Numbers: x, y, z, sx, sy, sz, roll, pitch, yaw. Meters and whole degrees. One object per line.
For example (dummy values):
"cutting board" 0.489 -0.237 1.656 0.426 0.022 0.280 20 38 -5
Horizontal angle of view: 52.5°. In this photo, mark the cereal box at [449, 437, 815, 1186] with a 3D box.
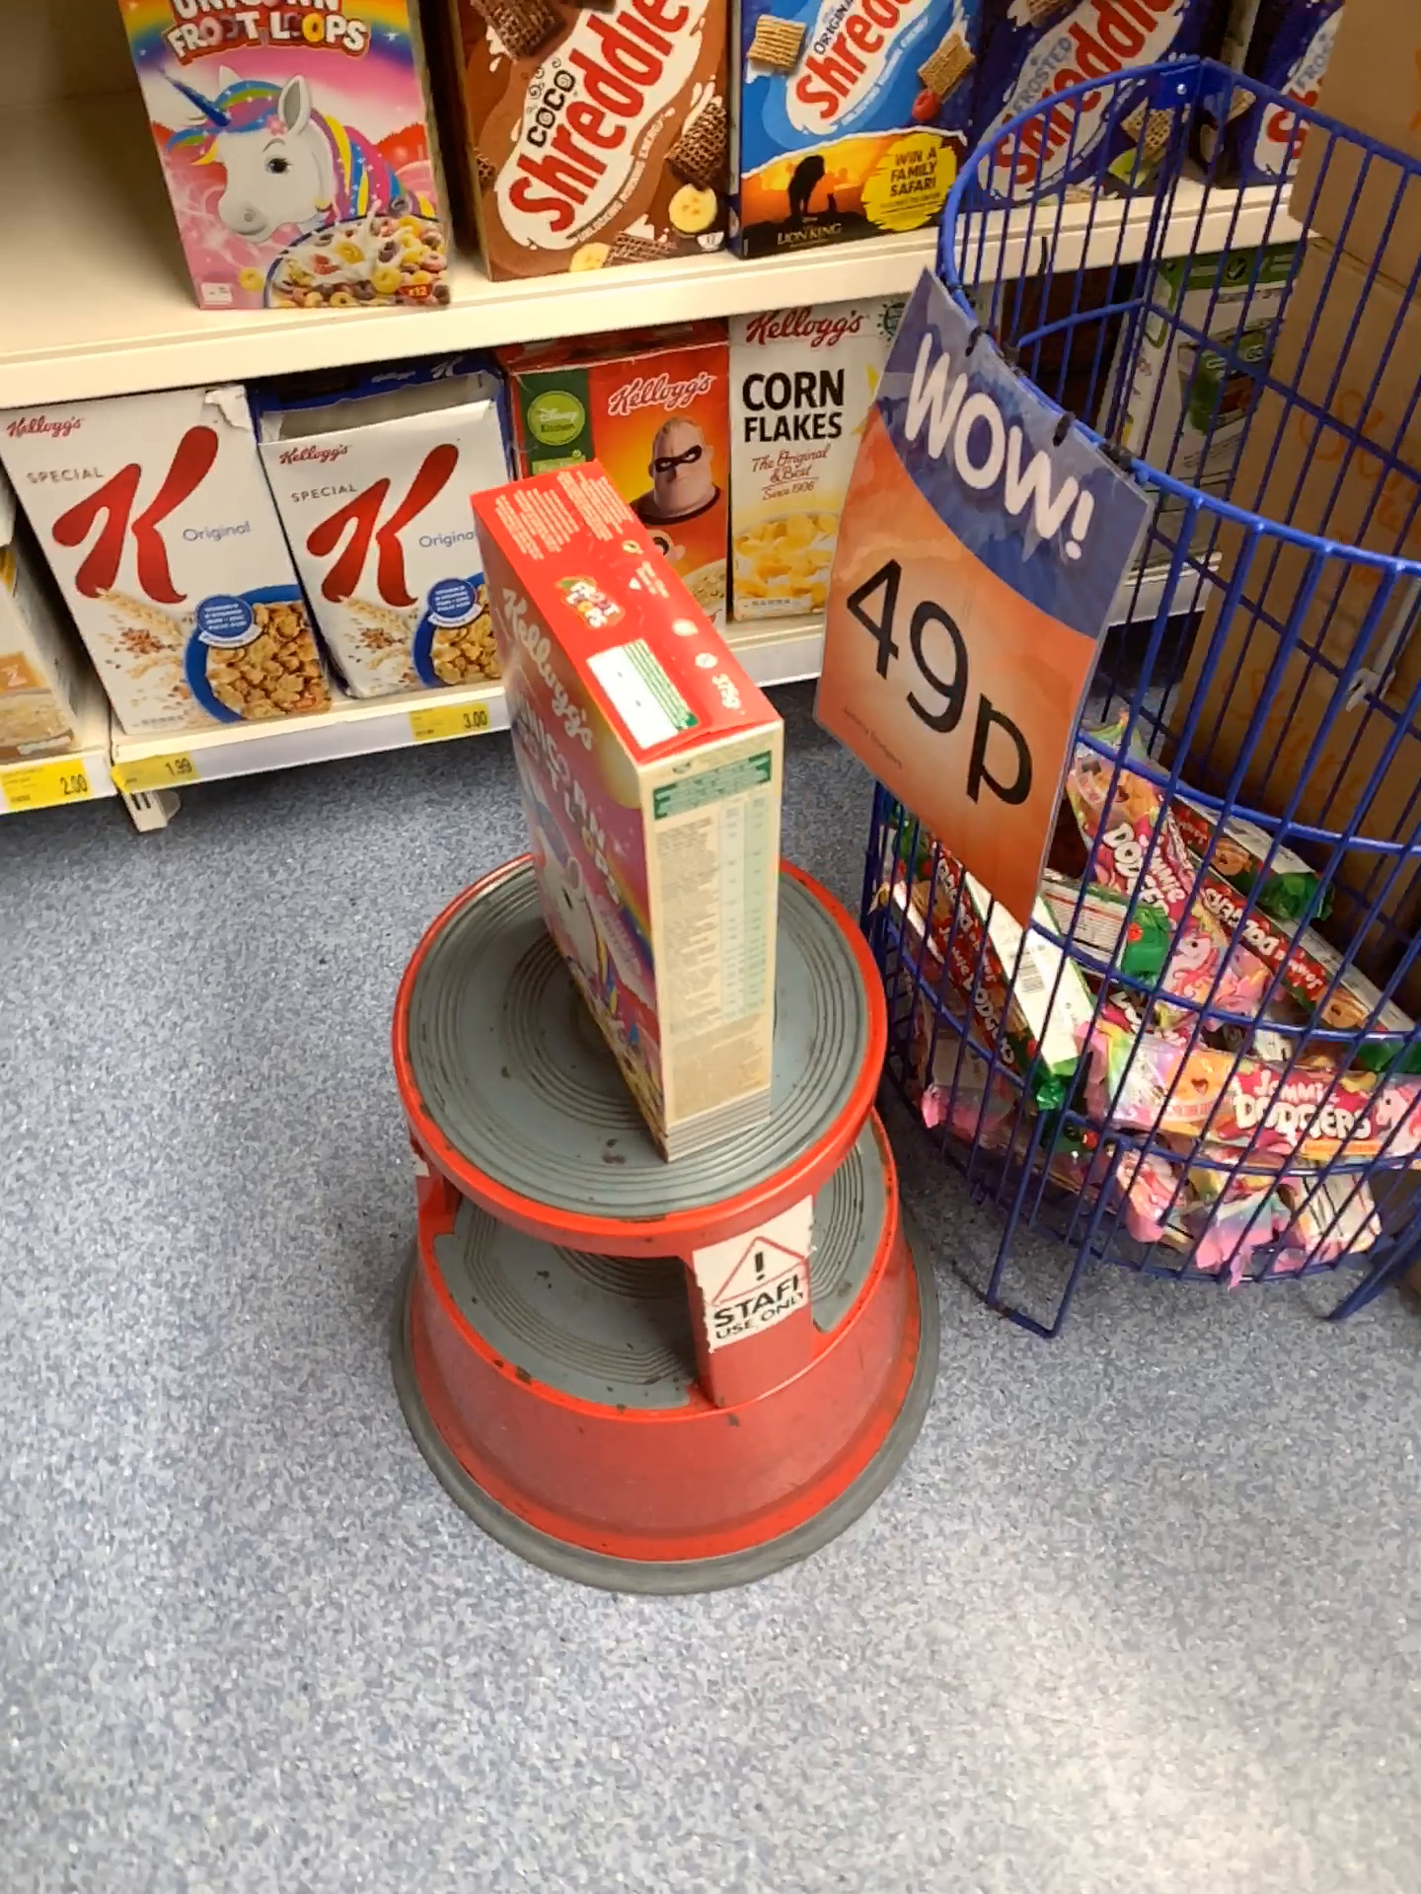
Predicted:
"cereal box" -0.038 -0.054 0.692 0.070 0.288 0.211 -20 54 -15
